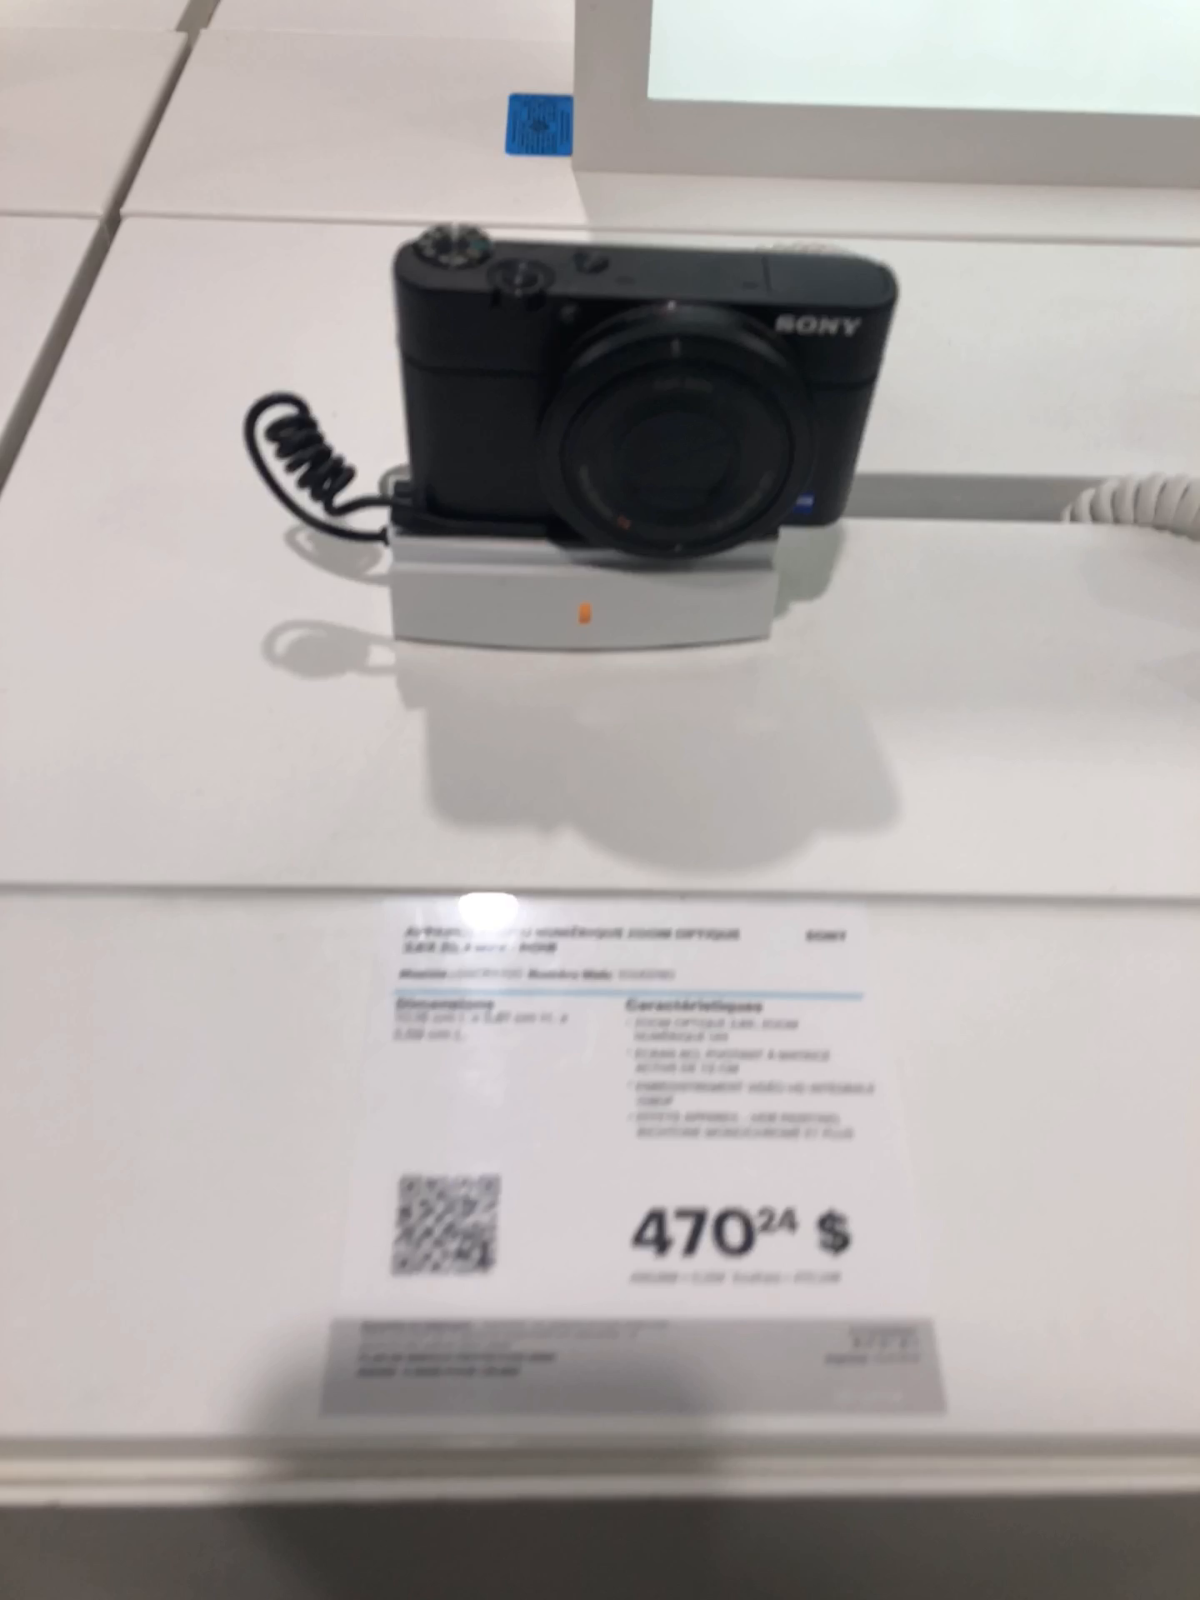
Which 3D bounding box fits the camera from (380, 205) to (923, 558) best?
[{"bbox_3d":[0.009,-0.086,0.275,0.100,0.056,0.036,2,49,-1],"label":"camera"}]
